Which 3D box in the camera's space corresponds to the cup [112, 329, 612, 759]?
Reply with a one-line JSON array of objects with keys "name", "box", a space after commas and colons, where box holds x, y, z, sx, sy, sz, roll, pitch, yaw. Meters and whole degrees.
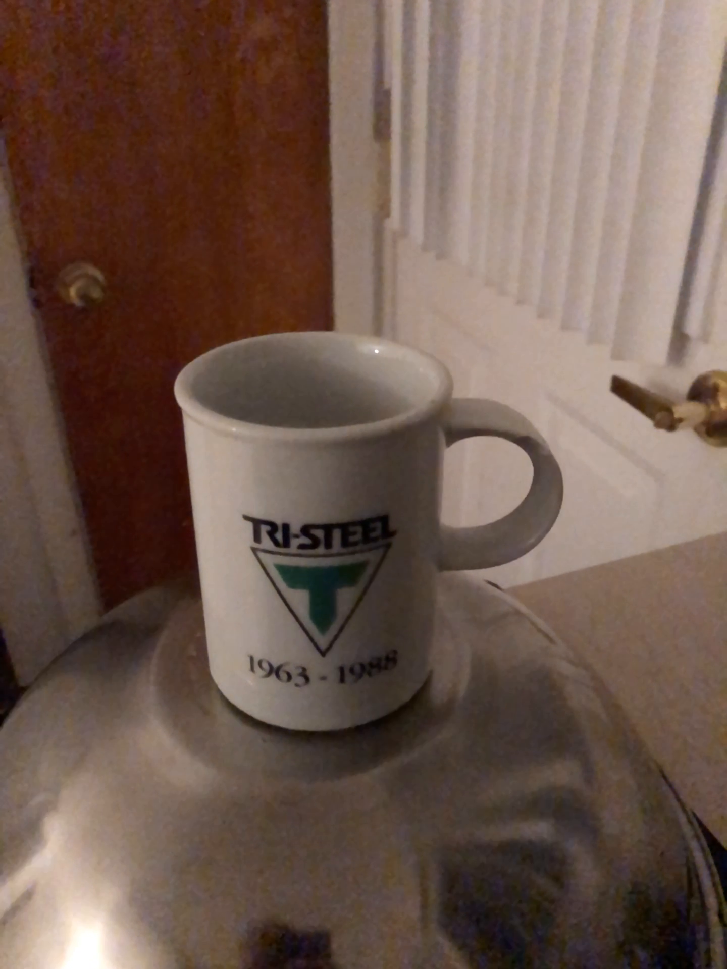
[{"name": "cup", "box": [0.002, 0.015, 0.241, 0.116, 0.099, 0.071, 3, 31, 5]}]
